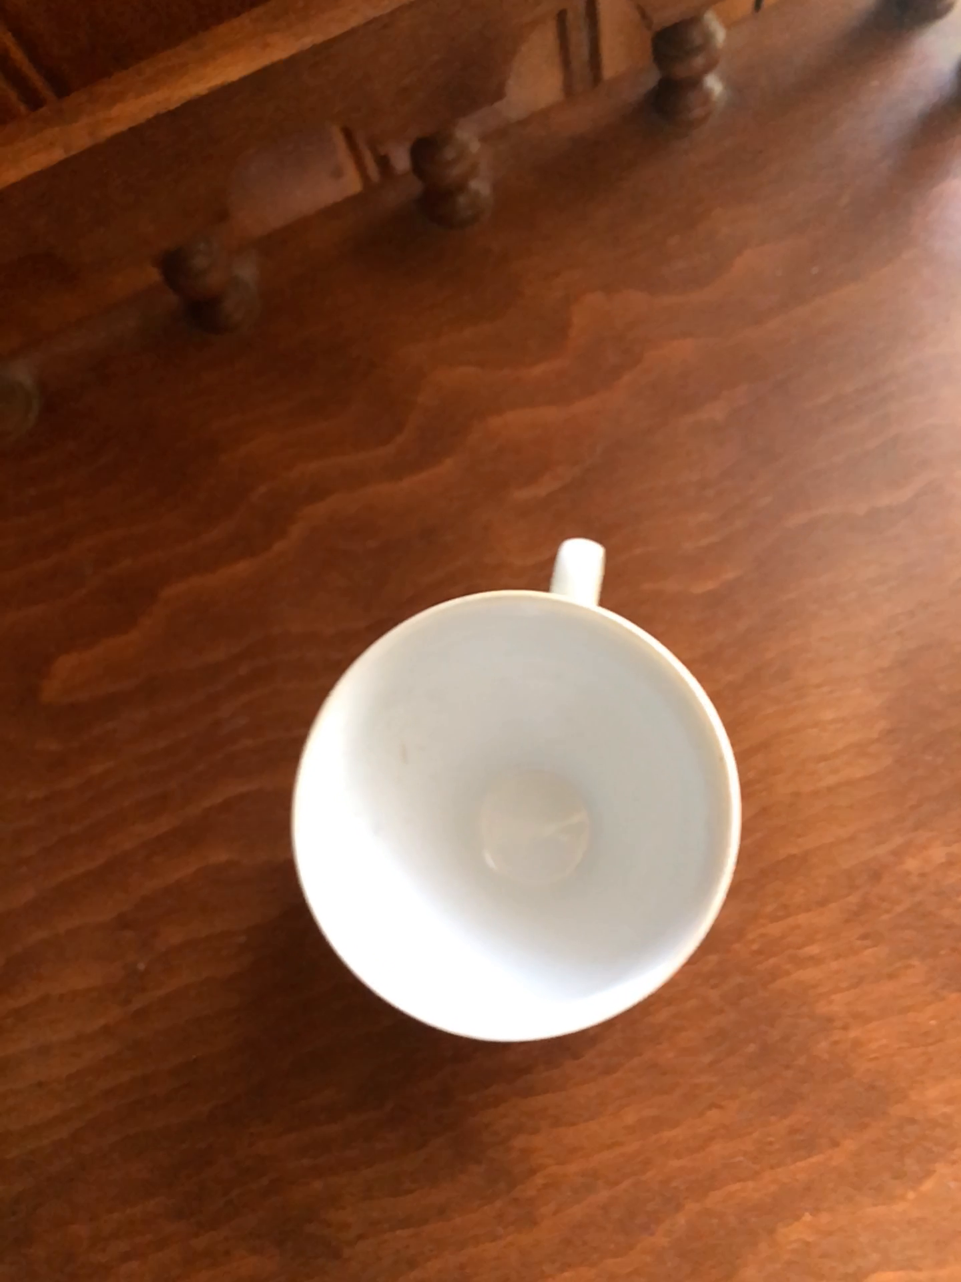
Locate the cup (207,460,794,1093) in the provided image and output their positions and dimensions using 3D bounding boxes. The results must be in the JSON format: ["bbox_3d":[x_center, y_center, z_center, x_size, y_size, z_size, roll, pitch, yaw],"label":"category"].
[{"bbox_3d":[0.007,0.024,0.205,0.080,0.050,0.090,12,78,12],"label":"cup"}]
